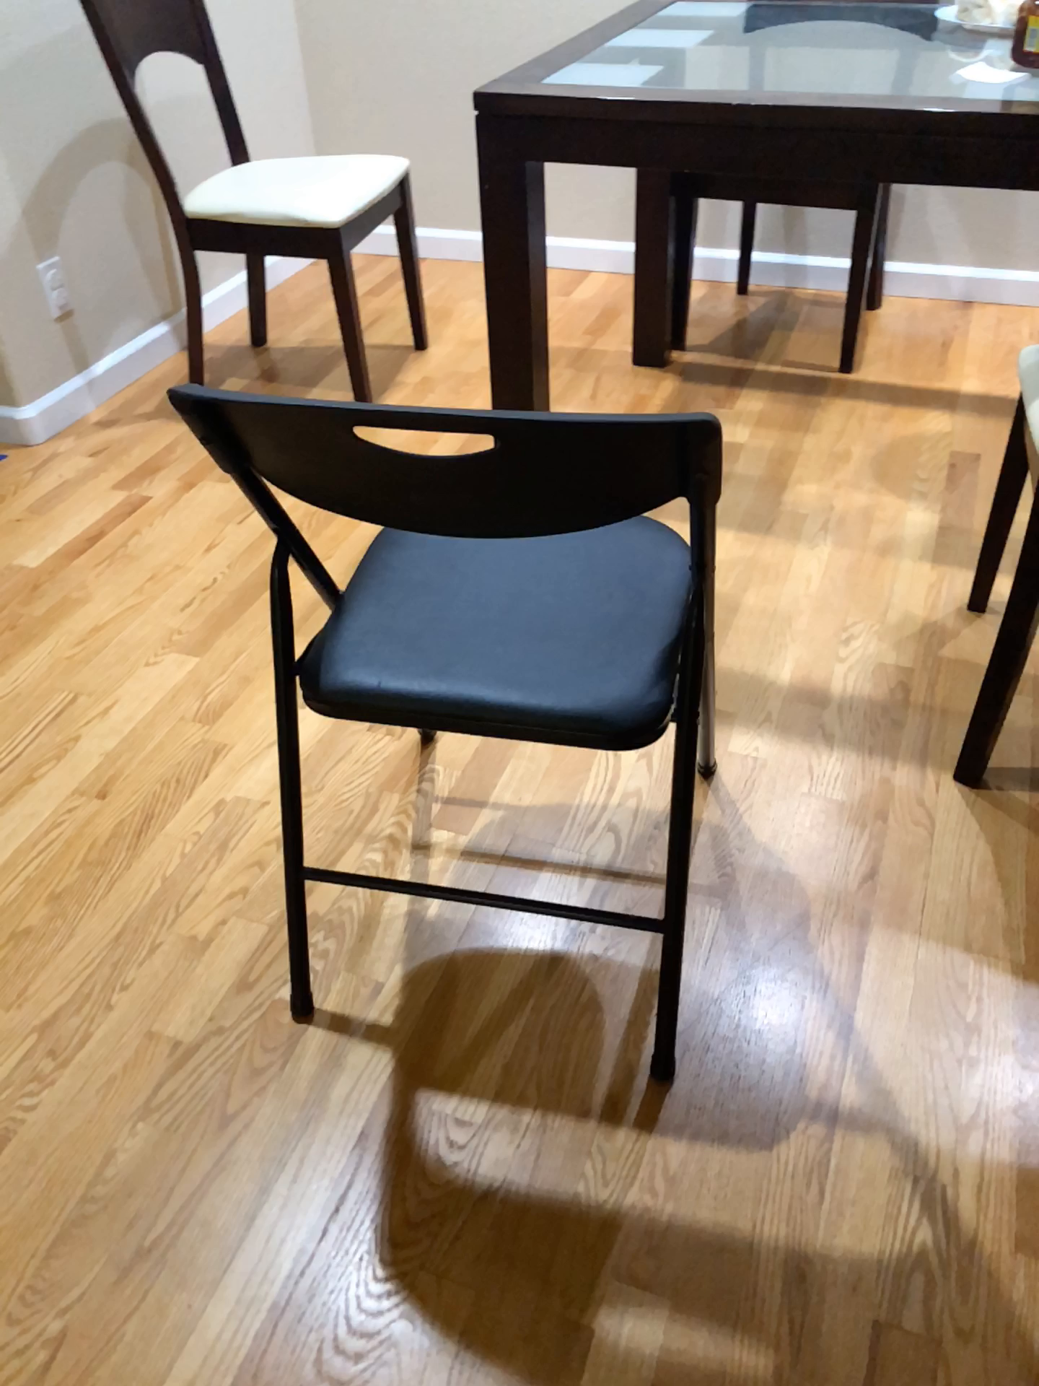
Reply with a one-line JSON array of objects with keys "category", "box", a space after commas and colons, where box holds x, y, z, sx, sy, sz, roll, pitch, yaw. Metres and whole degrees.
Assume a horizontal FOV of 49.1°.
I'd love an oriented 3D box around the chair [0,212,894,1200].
[{"category": "chair", "box": [0.011, -0.040, 1.165, 0.610, 0.656, 0.684, 8, 39, 13]}]
